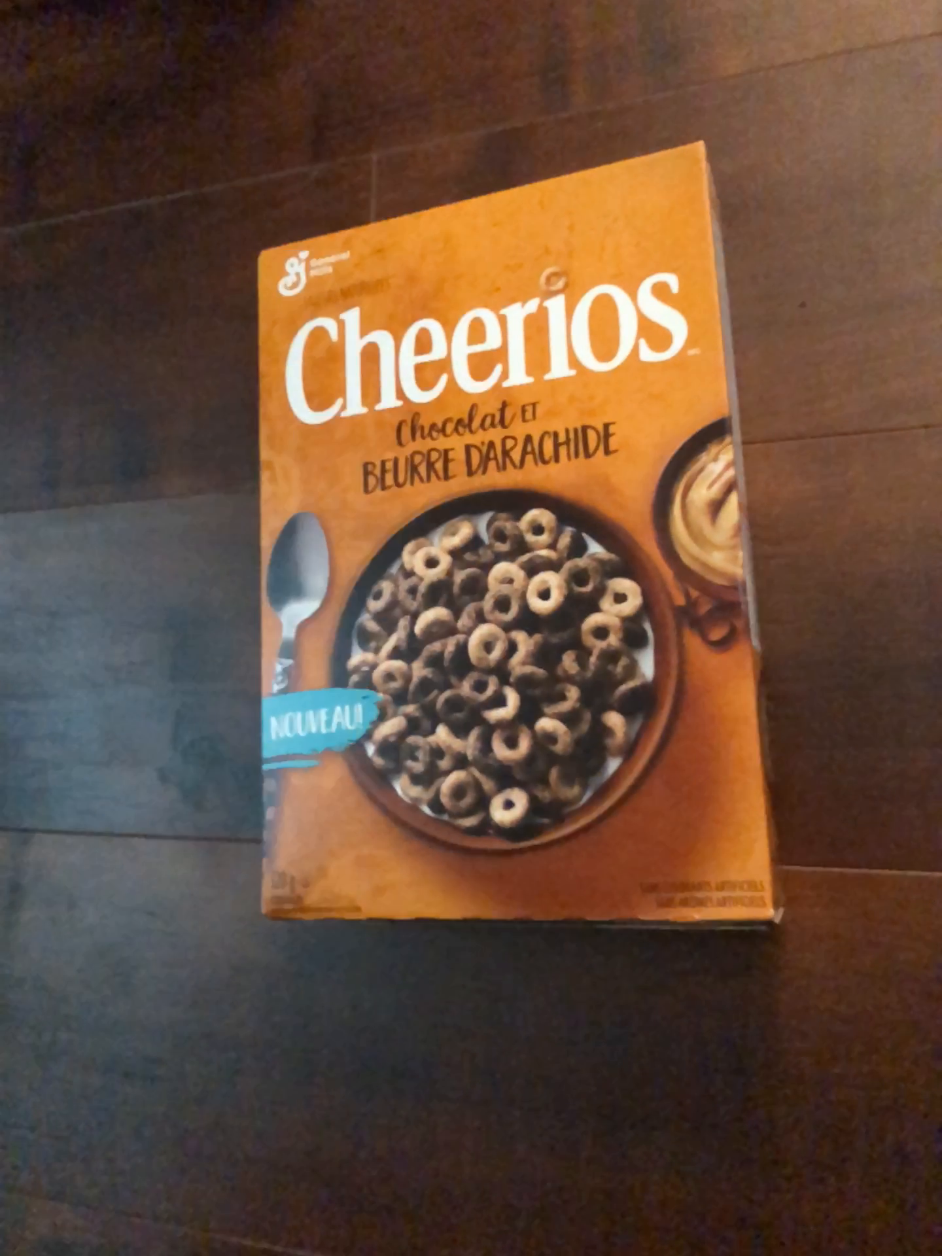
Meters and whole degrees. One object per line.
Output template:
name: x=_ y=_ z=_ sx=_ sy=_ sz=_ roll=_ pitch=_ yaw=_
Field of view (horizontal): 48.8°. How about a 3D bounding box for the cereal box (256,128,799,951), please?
cereal box: x=0.014 y=-0.027 z=0.429 sx=0.201 sy=0.060 sz=0.300 roll=-6 pitch=79 yaw=20
